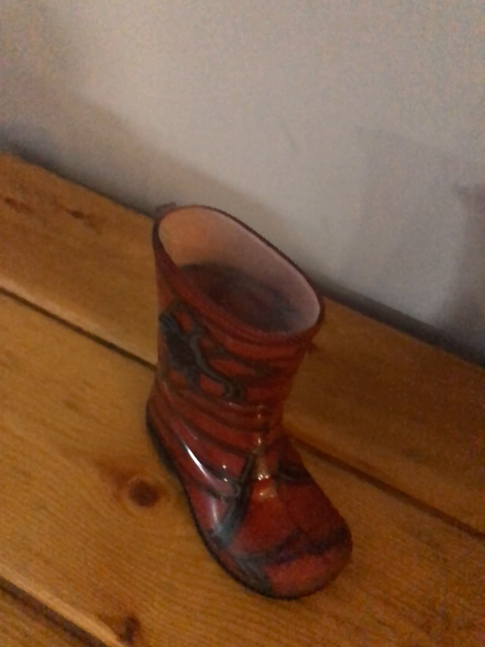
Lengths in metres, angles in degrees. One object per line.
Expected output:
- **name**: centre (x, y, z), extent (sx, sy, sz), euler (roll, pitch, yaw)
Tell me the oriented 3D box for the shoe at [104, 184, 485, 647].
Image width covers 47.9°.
- **shoe**: centre (0.007, 0.052, 0.286), extent (0.080, 0.170, 0.160), euler (-27, 59, -29)
